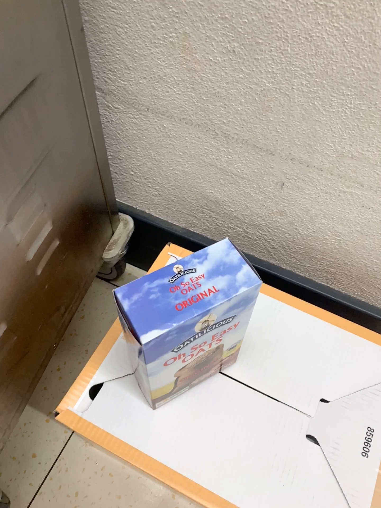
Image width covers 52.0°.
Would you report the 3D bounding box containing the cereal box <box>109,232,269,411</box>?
[{"bbox_3d":[-0.003,0.088,0.438,0.130,0.219,0.060,-25,59,-17],"label":"cereal box"}]
